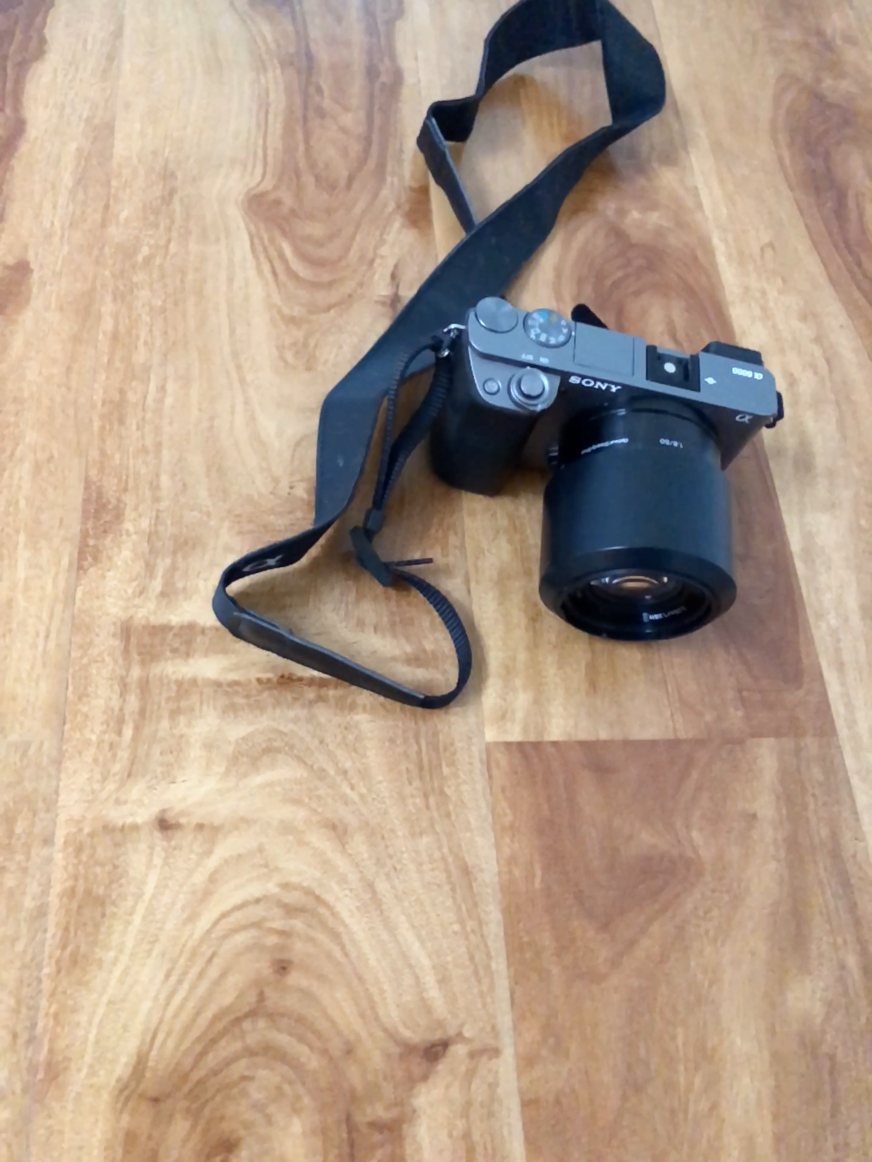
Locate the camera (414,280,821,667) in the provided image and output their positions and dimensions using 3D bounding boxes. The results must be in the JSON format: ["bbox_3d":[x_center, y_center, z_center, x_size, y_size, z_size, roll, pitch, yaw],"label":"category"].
[{"bbox_3d":[0.066,-0.039,0.378,0.130,0.070,0.110,9,61,-9],"label":"camera"}]
